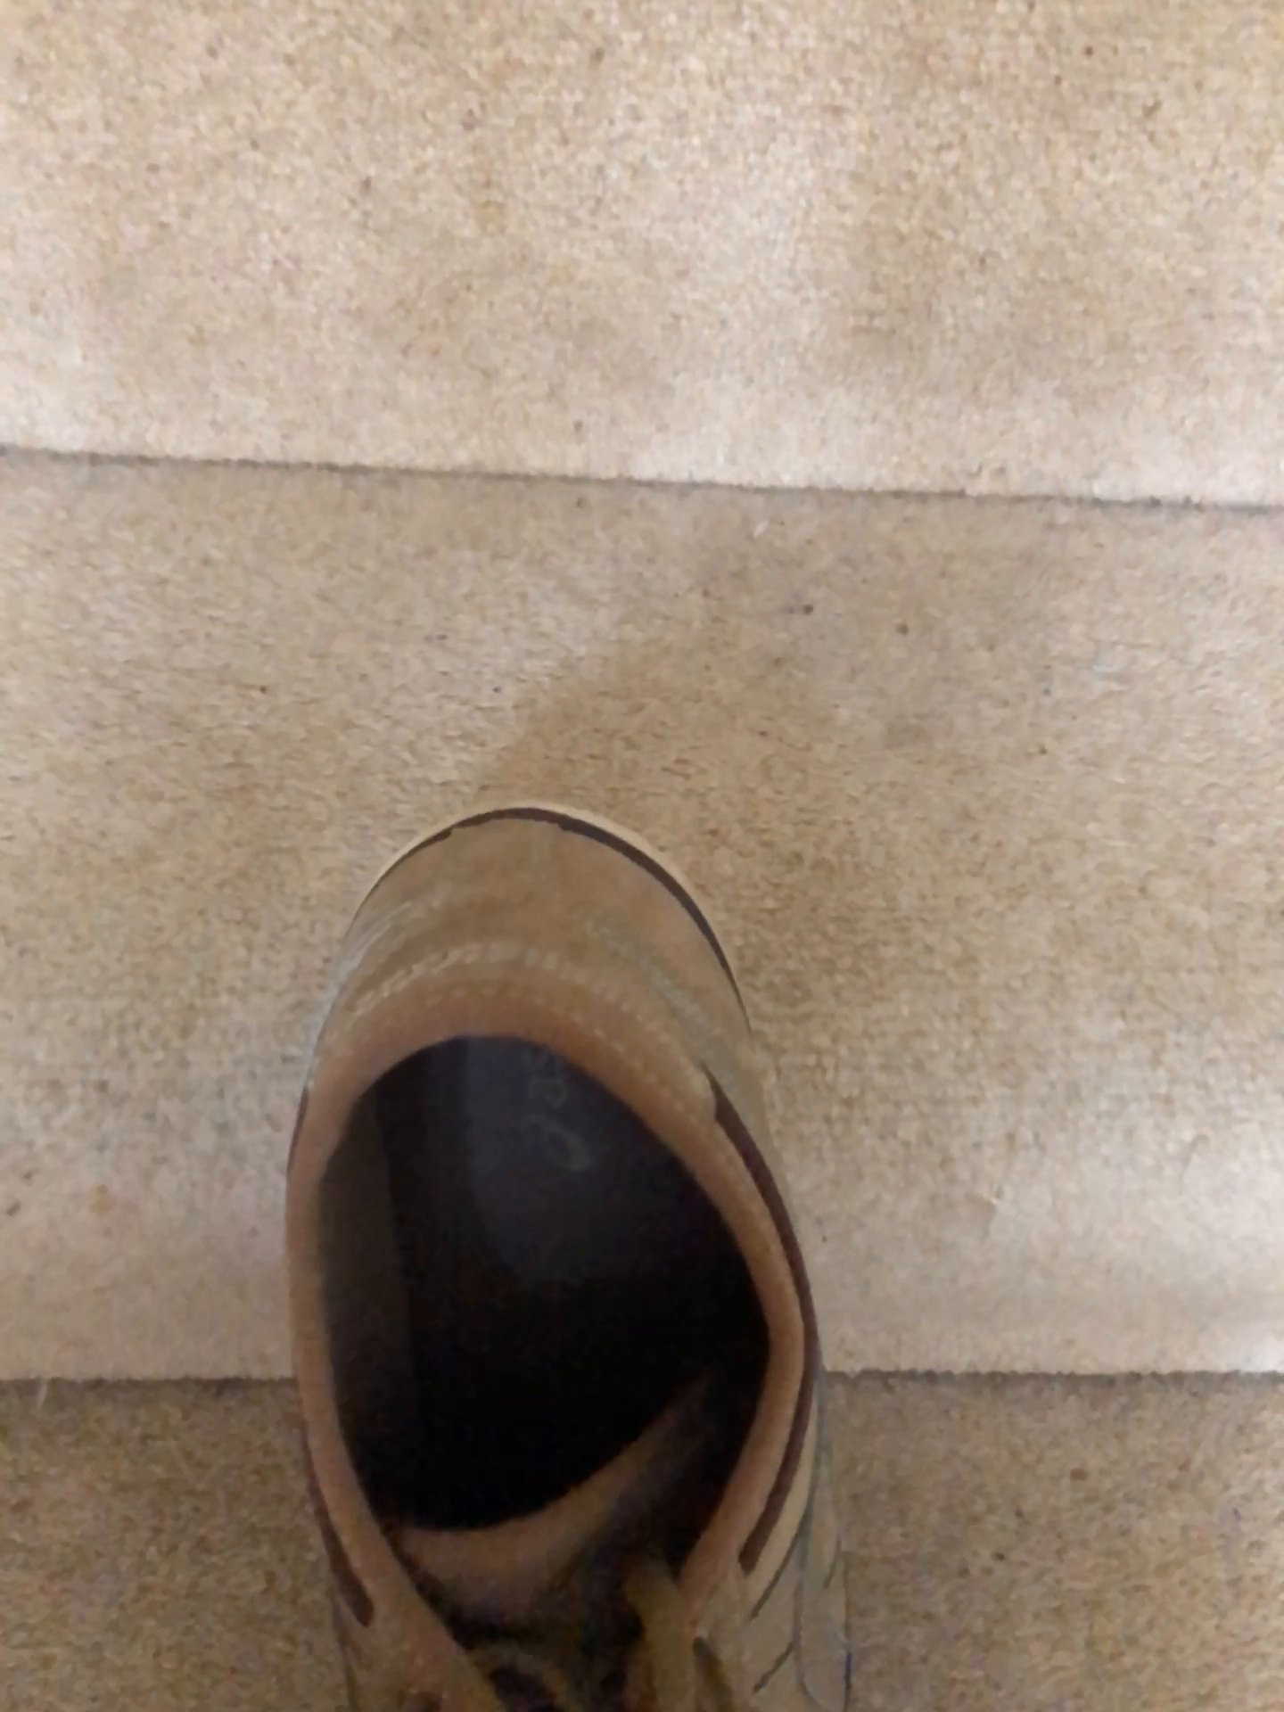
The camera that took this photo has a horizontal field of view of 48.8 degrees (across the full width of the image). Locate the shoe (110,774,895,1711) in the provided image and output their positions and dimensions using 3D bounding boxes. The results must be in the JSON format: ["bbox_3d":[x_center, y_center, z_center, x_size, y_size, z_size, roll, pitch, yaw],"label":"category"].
[{"bbox_3d":[-0.018,0.137,0.279,0.110,0.300,0.120,-2,4,1],"label":"shoe"}]
